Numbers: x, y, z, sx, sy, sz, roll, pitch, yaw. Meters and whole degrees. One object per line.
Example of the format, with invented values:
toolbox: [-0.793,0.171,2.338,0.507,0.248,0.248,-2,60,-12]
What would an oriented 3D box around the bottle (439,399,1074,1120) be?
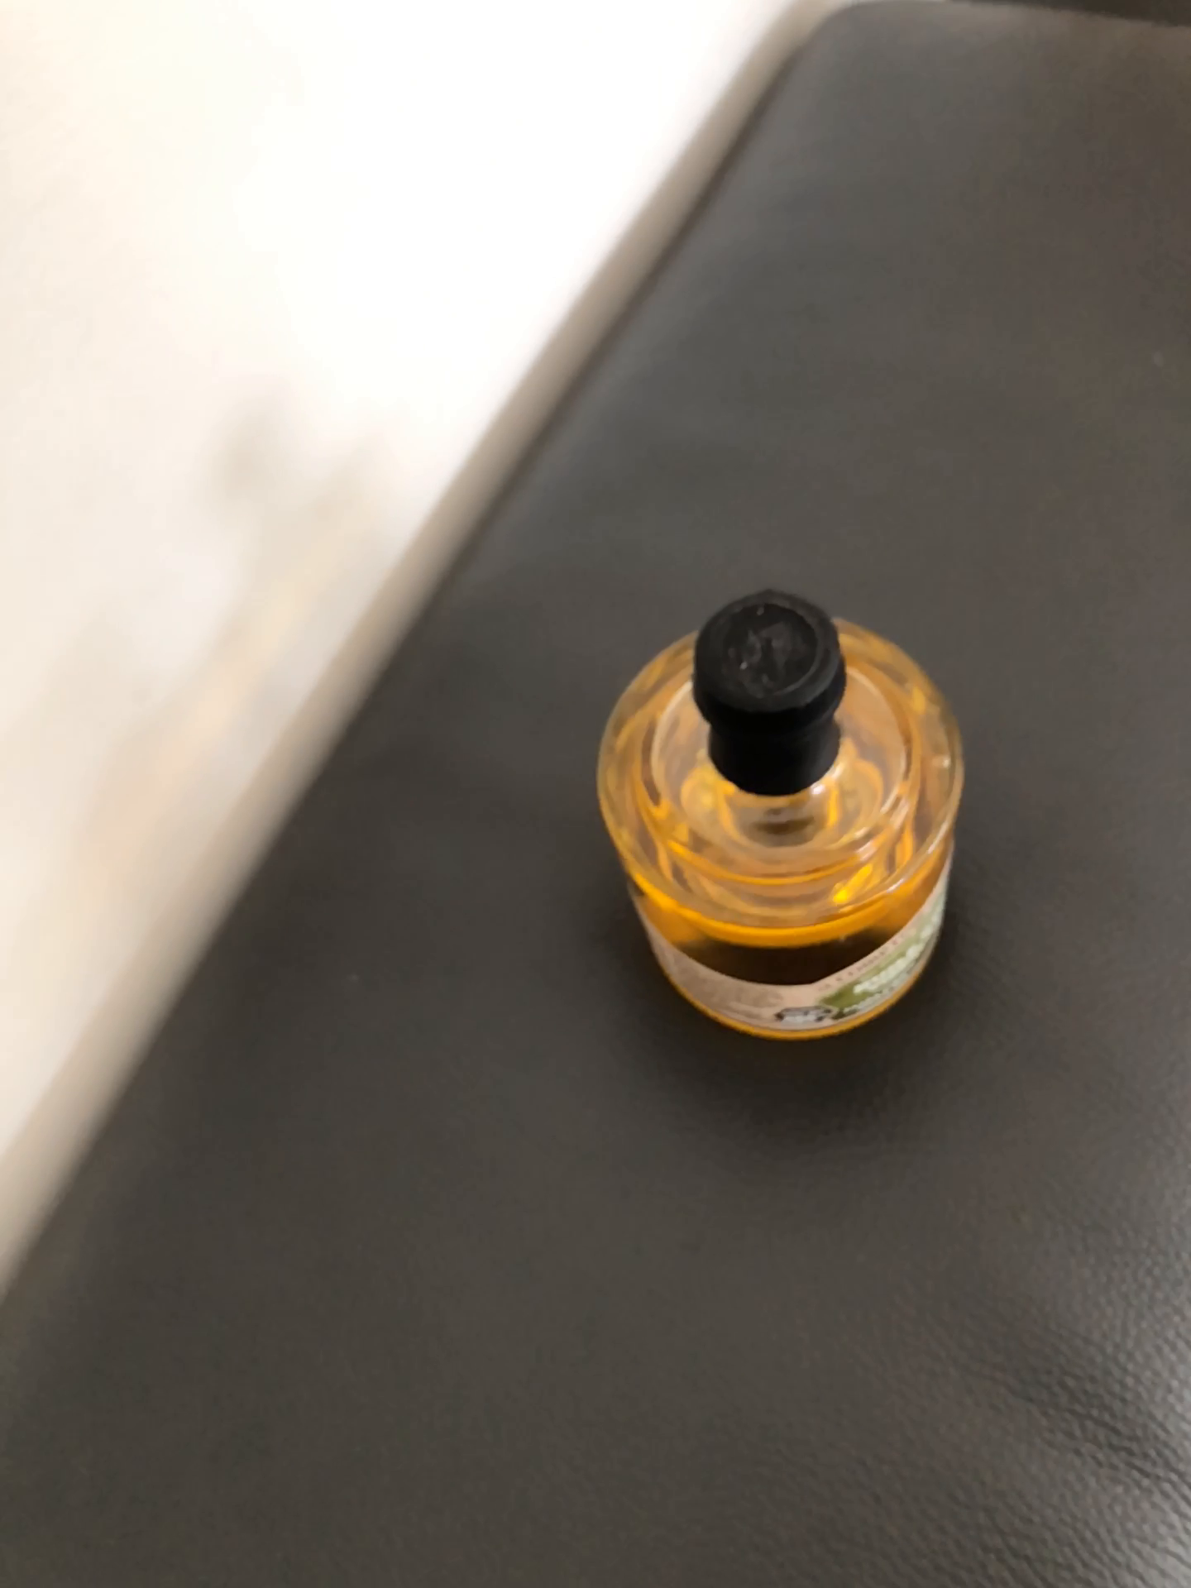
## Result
bottle: [0.041,-0.002,0.322,0.090,0.130,0.090,-4,60,8]
